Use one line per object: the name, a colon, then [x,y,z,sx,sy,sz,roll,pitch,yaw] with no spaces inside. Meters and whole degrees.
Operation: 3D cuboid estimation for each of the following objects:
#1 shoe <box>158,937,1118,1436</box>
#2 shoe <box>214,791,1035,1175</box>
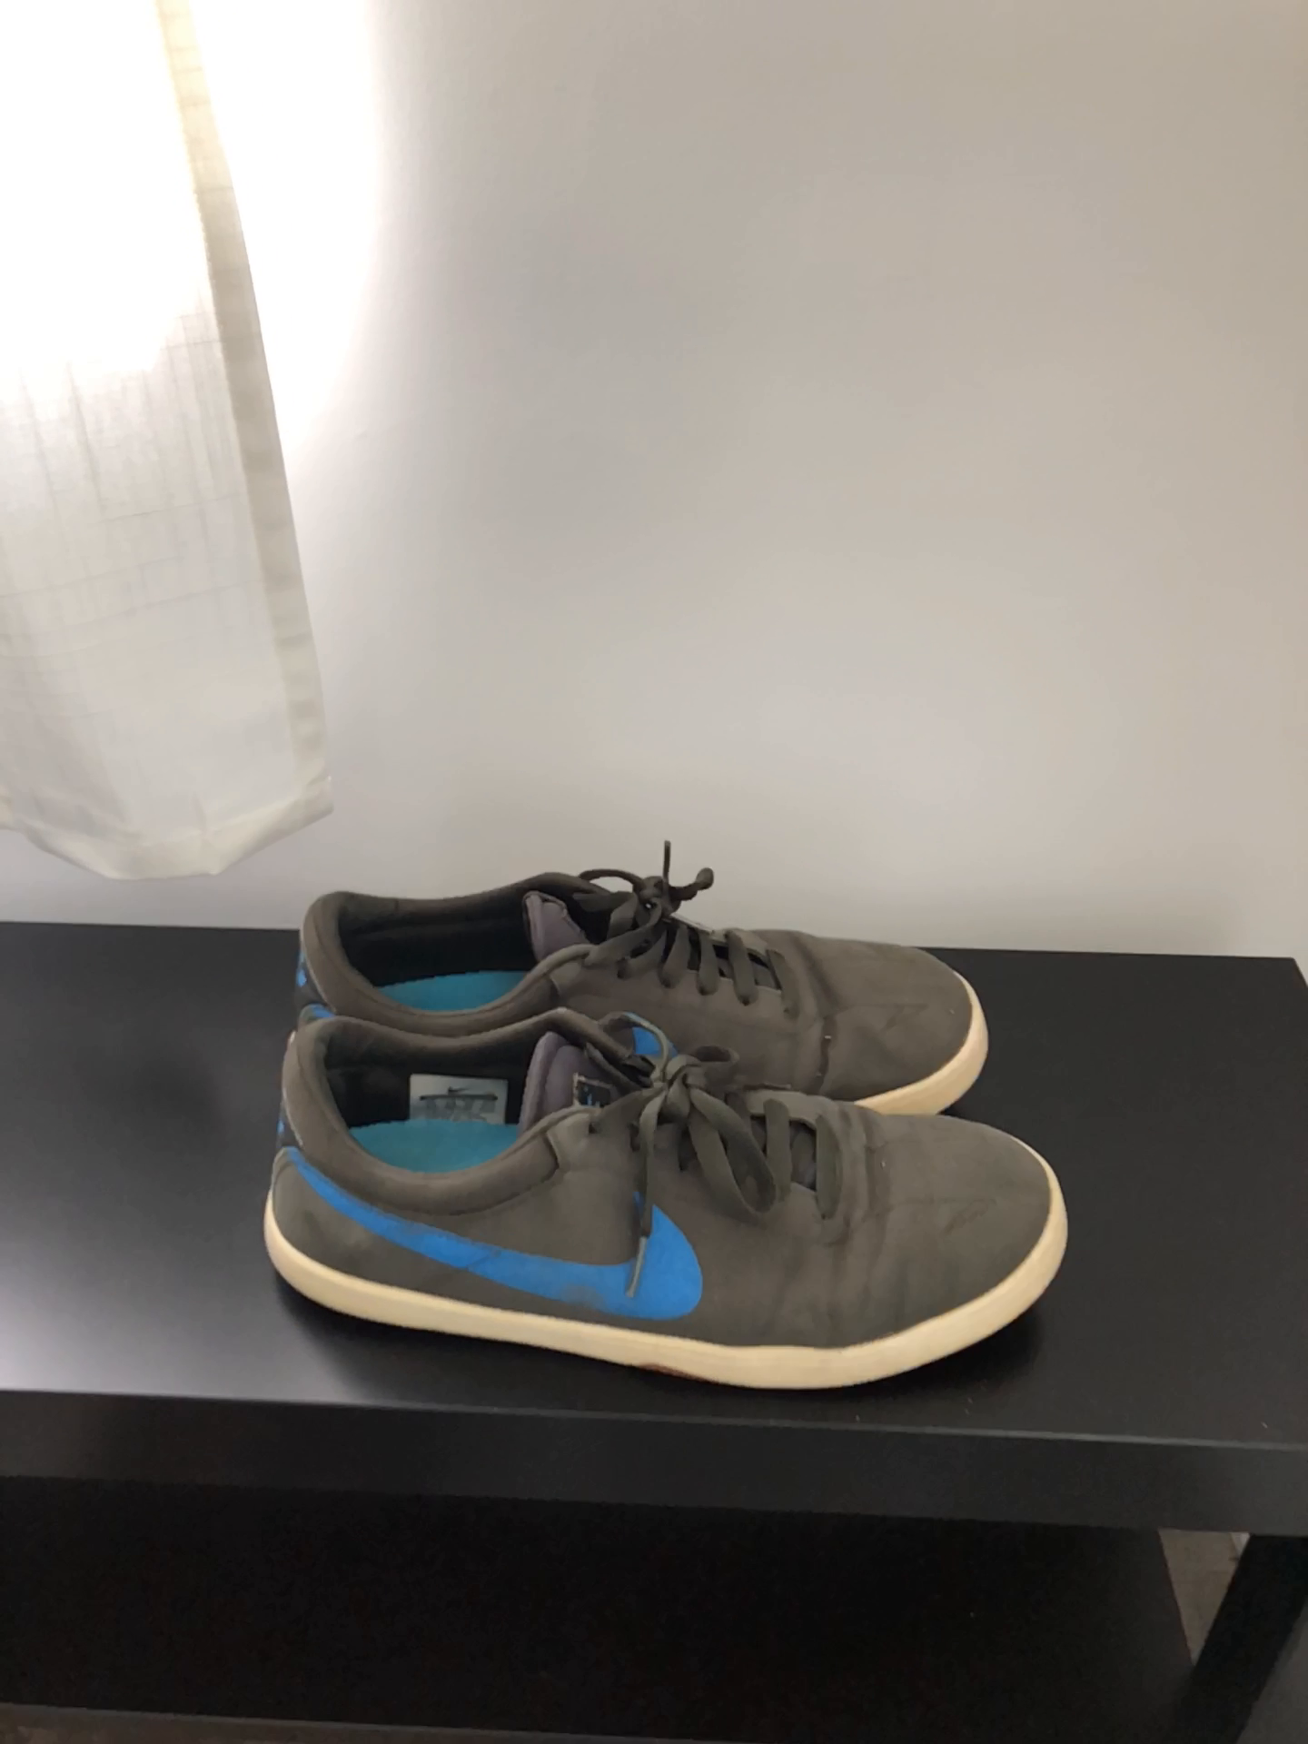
shoe: [-0.004,0.104,0.491,0.280,0.110,0.100,3,34,4]
shoe: [-0.010,0.042,0.564,0.280,0.110,0.100,0,34,0]
